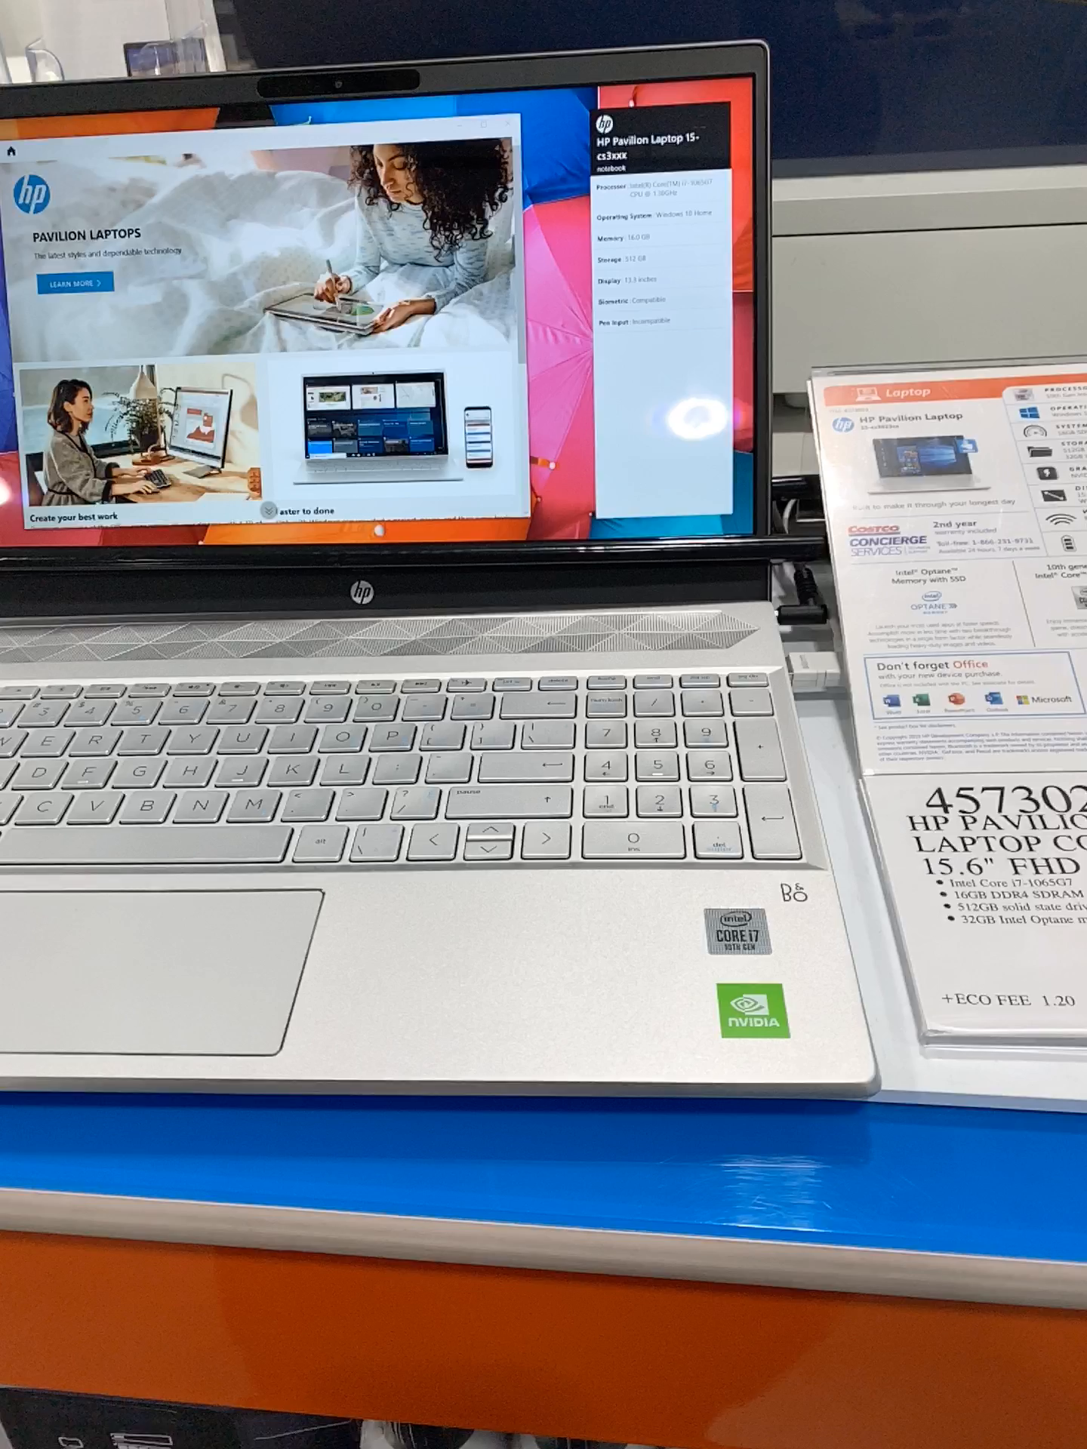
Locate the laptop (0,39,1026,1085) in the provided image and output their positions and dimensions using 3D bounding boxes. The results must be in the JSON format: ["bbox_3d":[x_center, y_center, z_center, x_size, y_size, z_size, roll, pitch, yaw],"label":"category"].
[{"bbox_3d":[-0.080,-0.085,0.359,0.332,0.175,0.335,-1,37,4],"label":"laptop"}]
